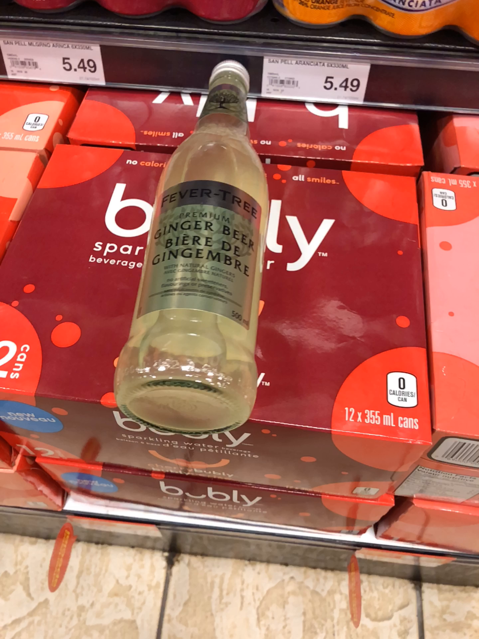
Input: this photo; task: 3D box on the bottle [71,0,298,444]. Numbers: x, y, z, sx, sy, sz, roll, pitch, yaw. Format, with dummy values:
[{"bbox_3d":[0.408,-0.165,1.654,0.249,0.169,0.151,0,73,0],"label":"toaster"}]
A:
[{"bbox_3d":[-0.013,-0.076,0.305,0.080,0.080,0.271,4,58,2],"label":"bottle"}]
